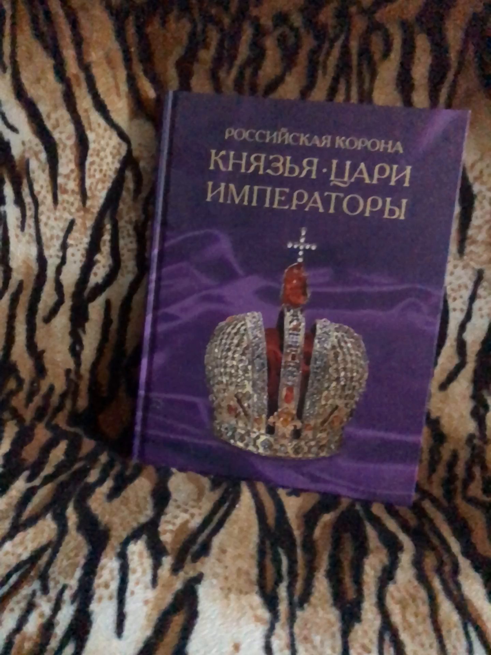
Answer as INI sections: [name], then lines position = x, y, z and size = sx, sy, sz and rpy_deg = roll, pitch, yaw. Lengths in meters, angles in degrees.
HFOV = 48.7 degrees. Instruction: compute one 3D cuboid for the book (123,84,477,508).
[book]
position = 0.032, -0.026, 0.405
size = 0.223, 0.280, 0.035
rpy_deg = 7, 6, 9
